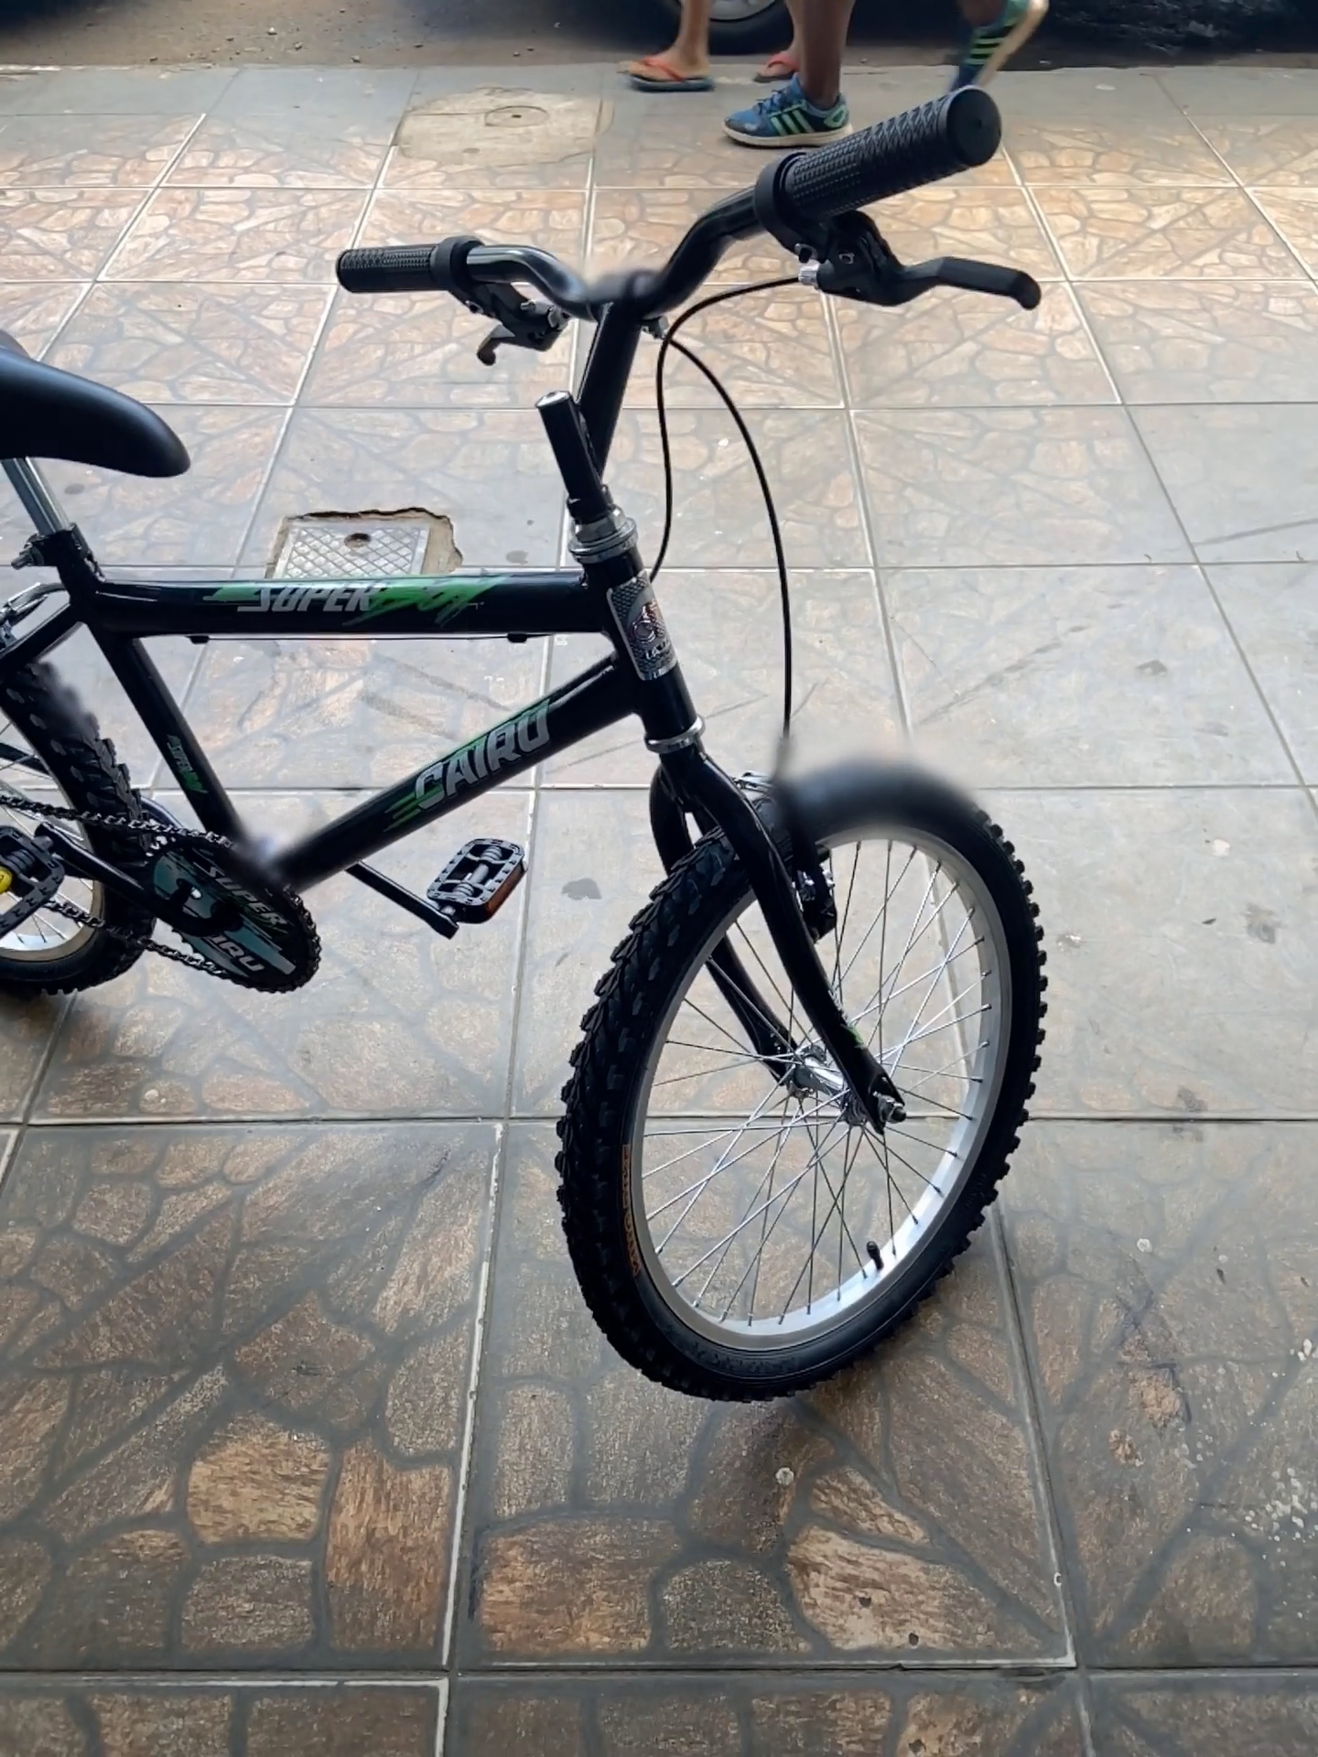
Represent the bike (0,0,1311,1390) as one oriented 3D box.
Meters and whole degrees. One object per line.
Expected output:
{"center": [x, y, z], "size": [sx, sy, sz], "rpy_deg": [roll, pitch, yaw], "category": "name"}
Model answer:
{"center": [-0.300, -0.191, 1.098], "size": [1.270, 0.935, 0.601], "rpy_deg": [12, 51, 9], "category": "bike"}
